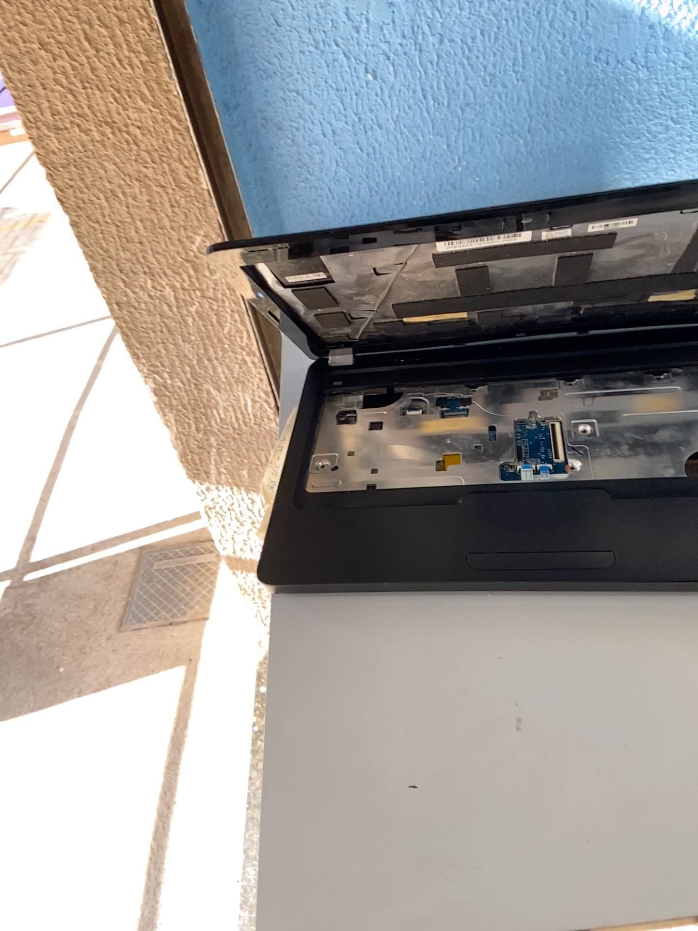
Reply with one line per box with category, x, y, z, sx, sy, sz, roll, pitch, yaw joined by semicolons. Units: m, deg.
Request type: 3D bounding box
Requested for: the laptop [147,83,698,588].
laptop;0.098;-0.073;0.409;0.327;0.153;0.223;-3;43;12
